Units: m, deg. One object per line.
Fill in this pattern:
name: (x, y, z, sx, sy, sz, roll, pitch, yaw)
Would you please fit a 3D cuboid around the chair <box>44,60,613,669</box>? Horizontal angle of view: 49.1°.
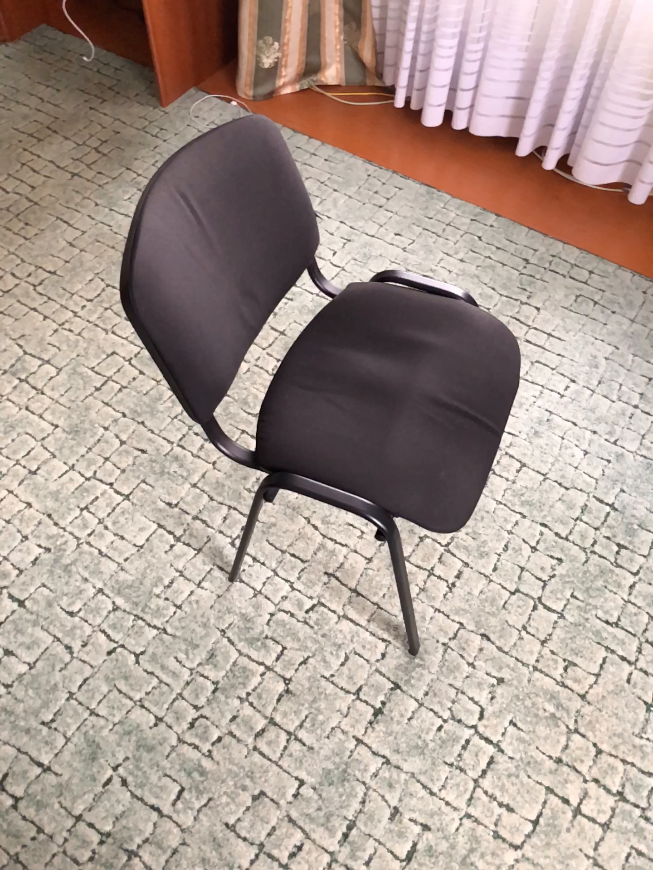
chair: (0.033, -0.082, 1.292, 0.600, 0.785, 0.583, 19, 57, 11)
